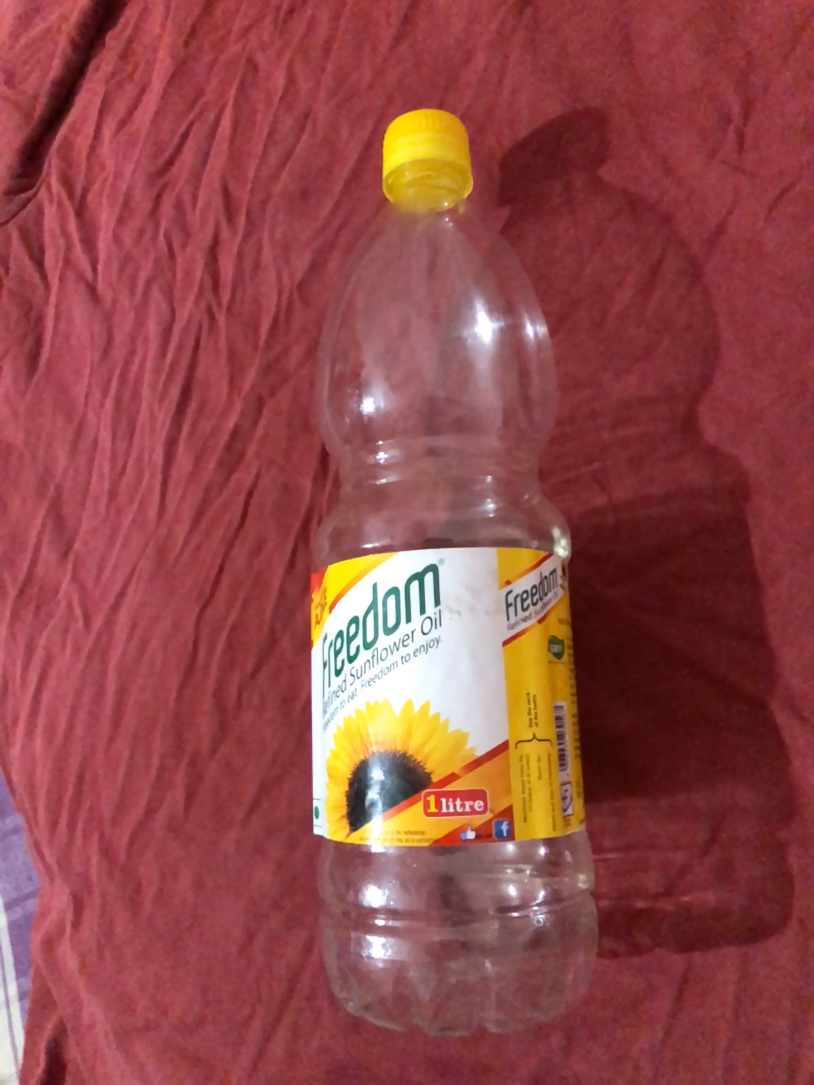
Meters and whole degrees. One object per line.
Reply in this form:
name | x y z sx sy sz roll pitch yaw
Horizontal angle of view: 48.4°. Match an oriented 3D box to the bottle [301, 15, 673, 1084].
bottle | 0.022 0.001 0.261 0.080 0.060 0.270 -5 81 22
